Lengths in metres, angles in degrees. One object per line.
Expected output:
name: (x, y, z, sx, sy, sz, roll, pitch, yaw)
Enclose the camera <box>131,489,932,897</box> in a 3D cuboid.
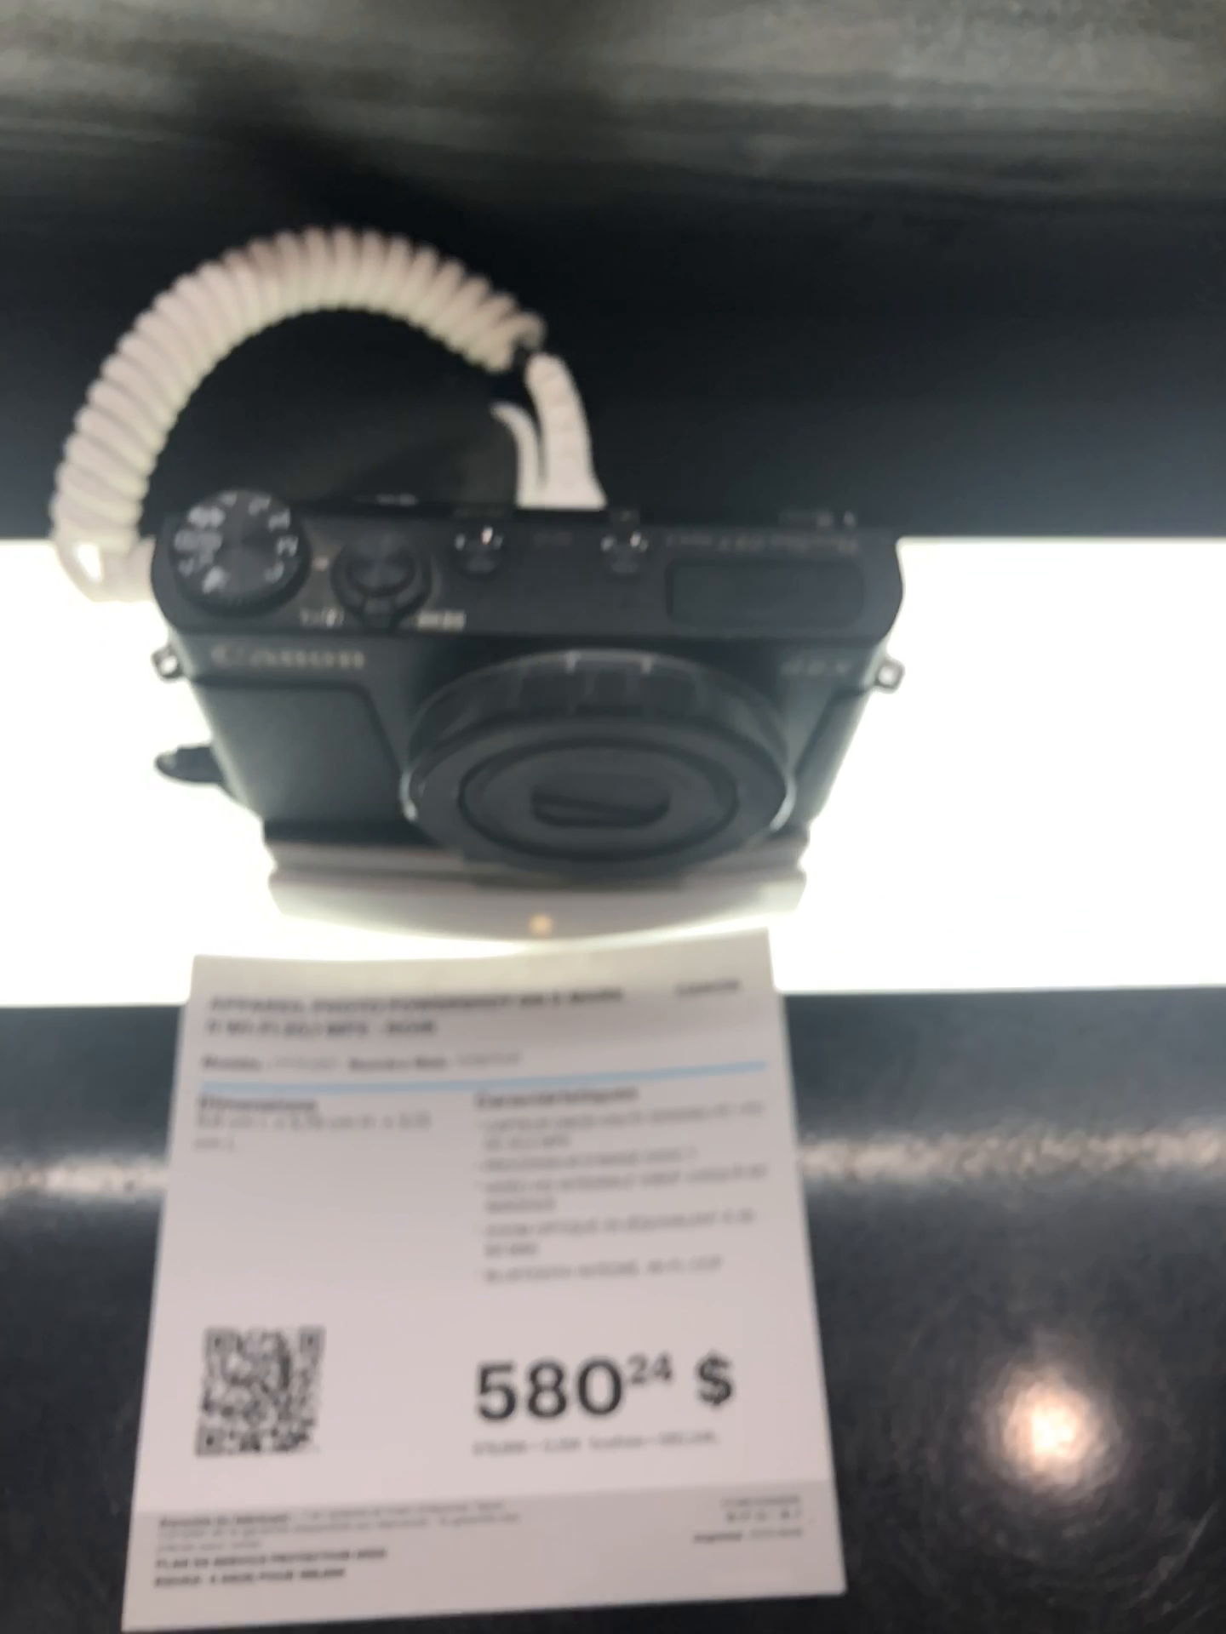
camera: (-0.010, -0.014, 0.193, 0.092, 0.060, 0.026, 1, 61, -2)
